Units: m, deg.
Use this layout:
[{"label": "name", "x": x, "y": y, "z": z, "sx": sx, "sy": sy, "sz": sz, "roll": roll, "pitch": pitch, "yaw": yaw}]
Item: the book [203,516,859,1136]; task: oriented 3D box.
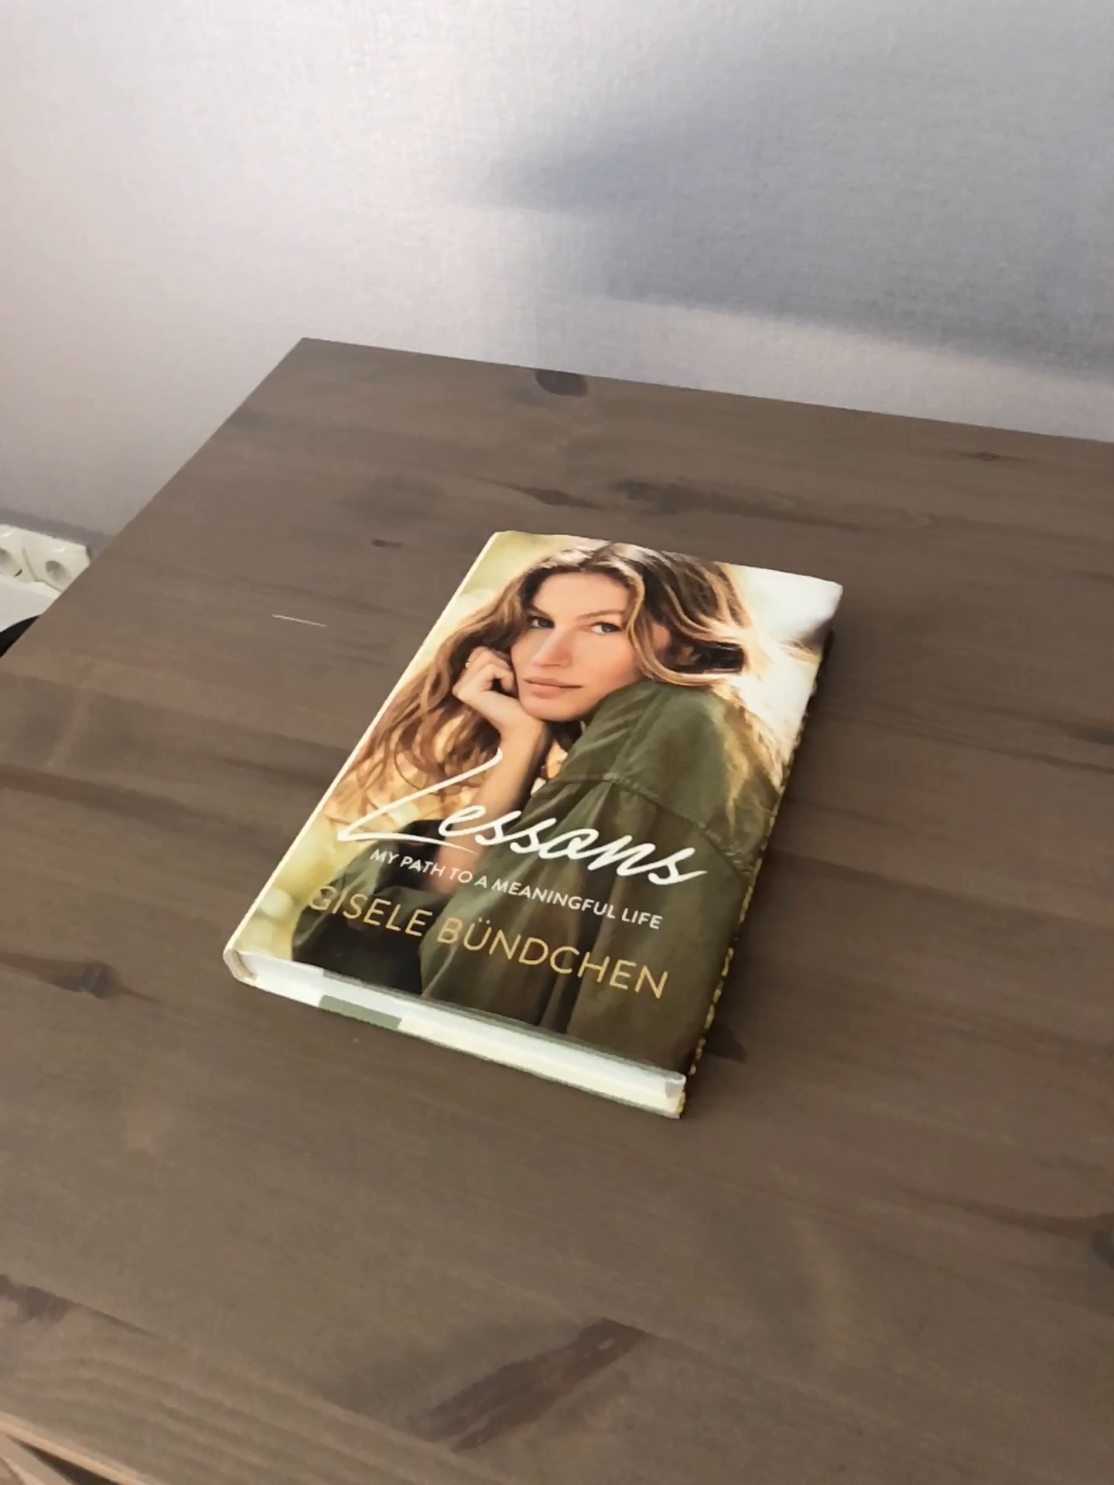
[{"label": "book", "x": 0.005, "y": 0.009, "z": 0.444, "sx": 0.160, "sy": 0.030, "sz": 0.228, "roll": 13, "pitch": 48, "yaw": 16}]
